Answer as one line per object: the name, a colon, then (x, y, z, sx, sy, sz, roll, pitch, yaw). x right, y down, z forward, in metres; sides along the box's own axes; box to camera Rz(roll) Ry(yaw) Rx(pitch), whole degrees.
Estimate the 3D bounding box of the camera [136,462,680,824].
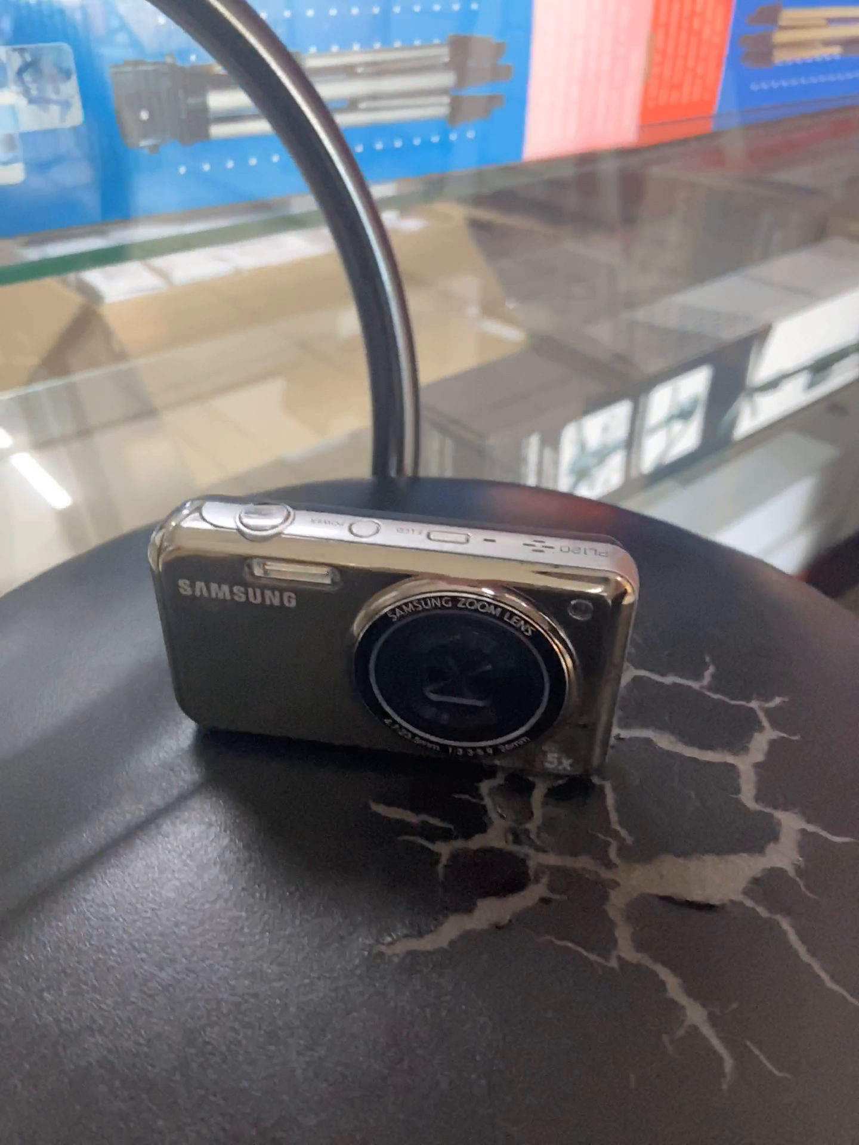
camera: (-0.004, 0.015, 0.192, 0.100, 0.060, 0.030, 6, 36, 8)
